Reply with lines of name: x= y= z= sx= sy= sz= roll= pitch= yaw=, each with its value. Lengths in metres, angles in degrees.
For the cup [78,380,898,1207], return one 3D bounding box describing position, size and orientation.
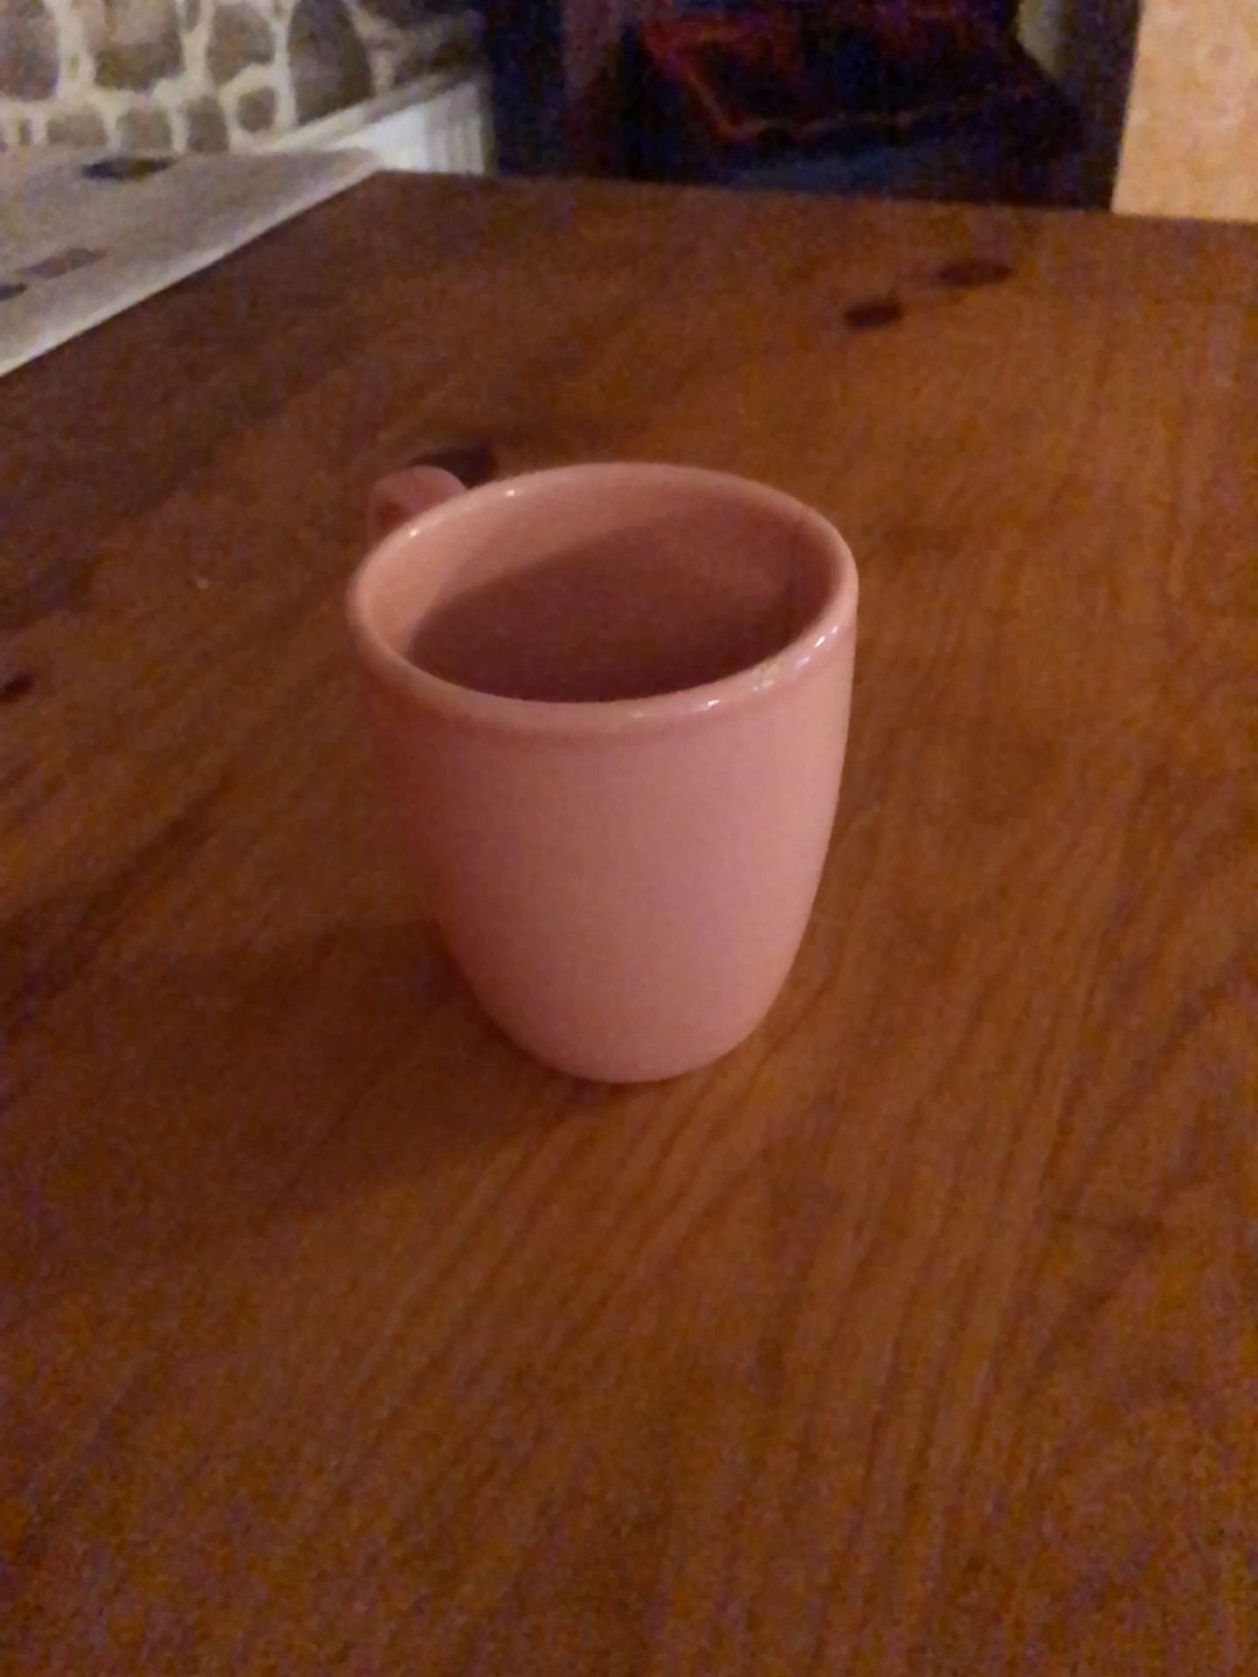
cup: x=-0.026 y=-0.018 z=0.280 sx=0.090 sy=0.095 sz=0.121 roll=-33 pitch=47 yaw=-32
